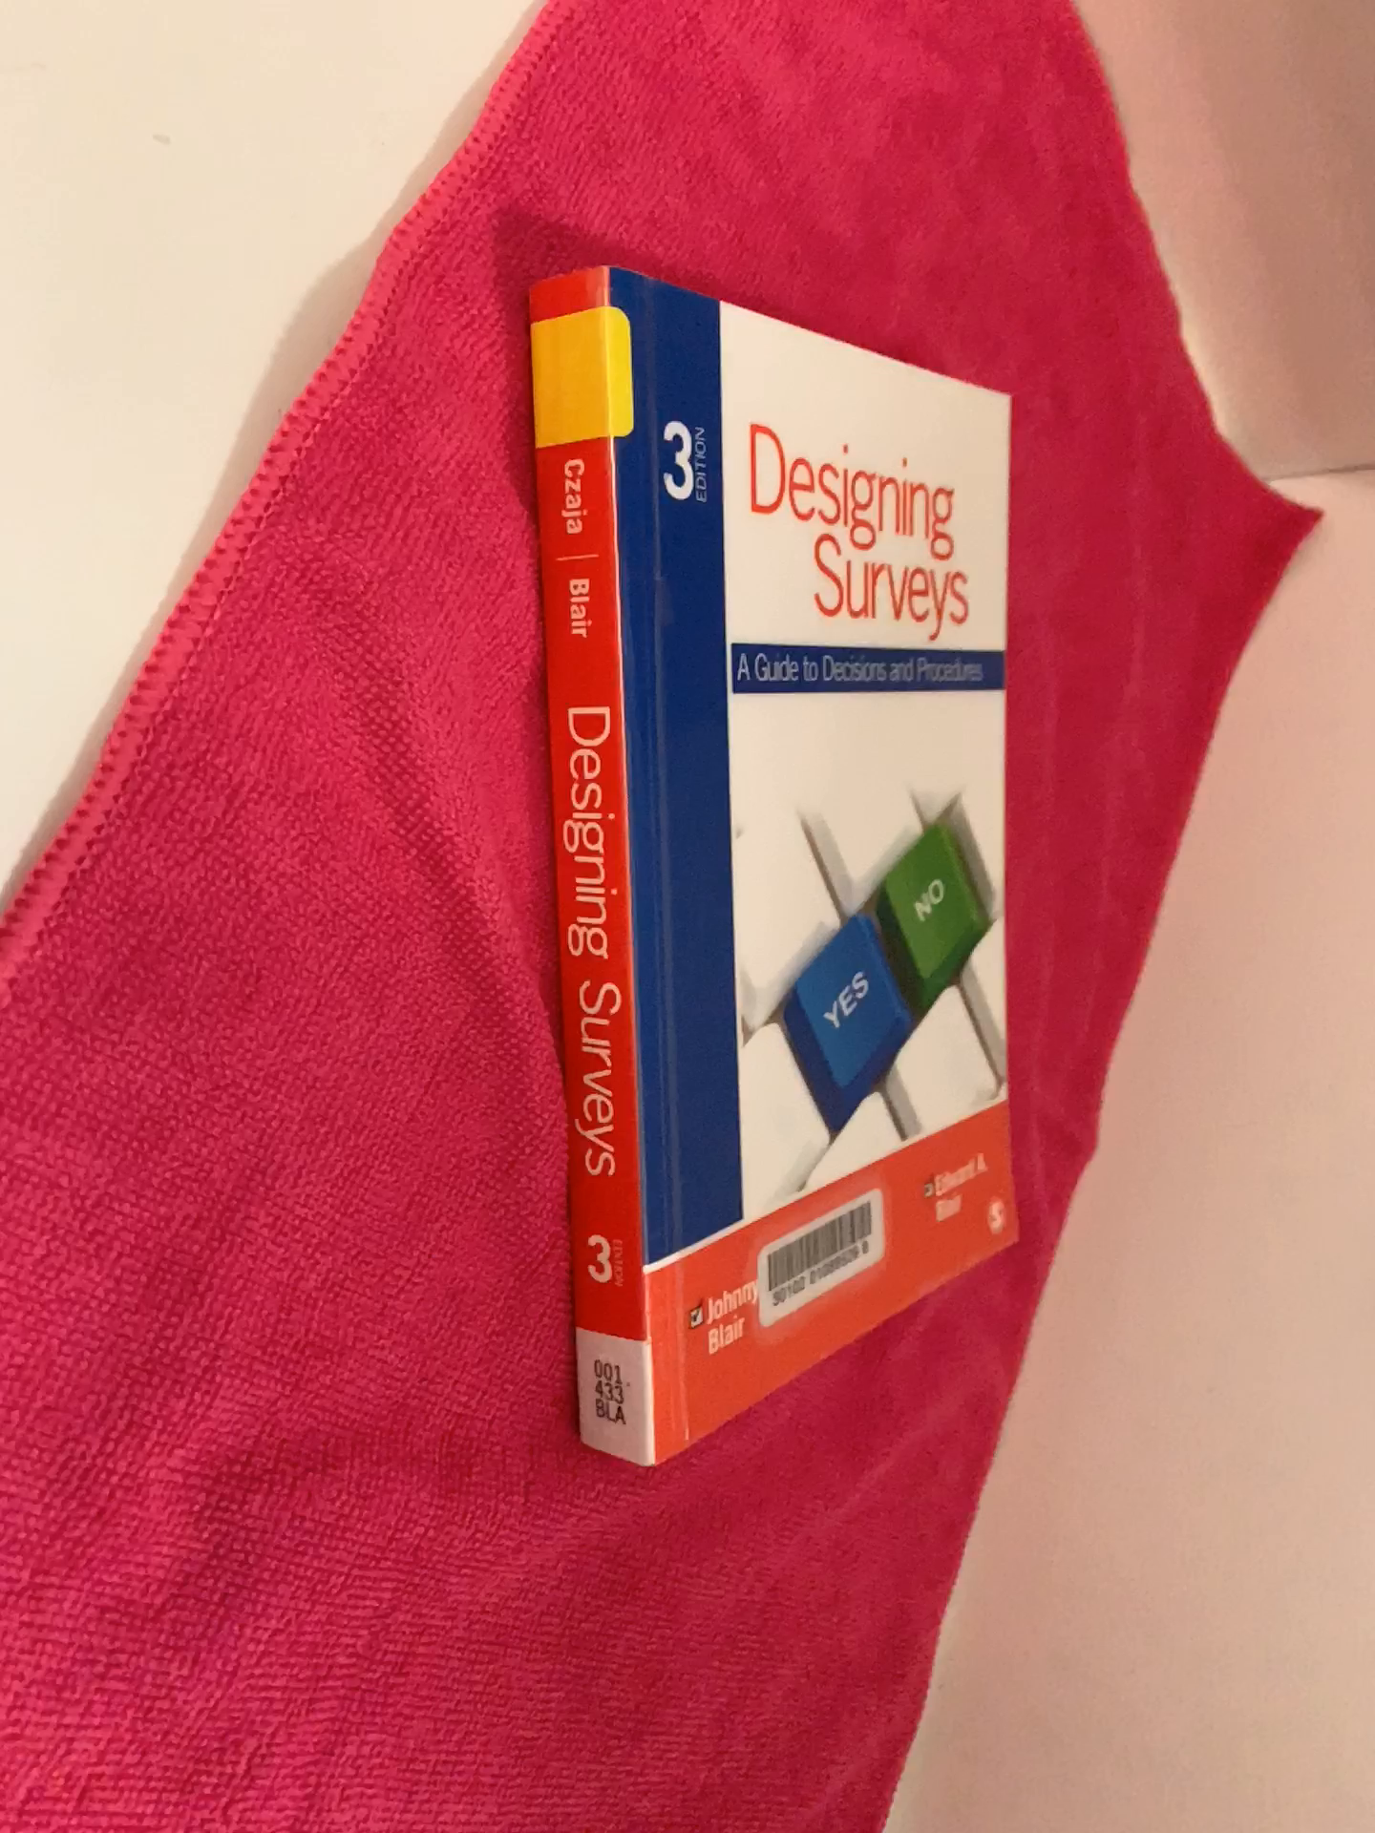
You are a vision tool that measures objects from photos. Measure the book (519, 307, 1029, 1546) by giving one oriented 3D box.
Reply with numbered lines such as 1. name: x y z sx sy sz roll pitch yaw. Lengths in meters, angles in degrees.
1. book: 0.032 -0.003 0.330 0.161 0.026 0.230 -13 104 -51
